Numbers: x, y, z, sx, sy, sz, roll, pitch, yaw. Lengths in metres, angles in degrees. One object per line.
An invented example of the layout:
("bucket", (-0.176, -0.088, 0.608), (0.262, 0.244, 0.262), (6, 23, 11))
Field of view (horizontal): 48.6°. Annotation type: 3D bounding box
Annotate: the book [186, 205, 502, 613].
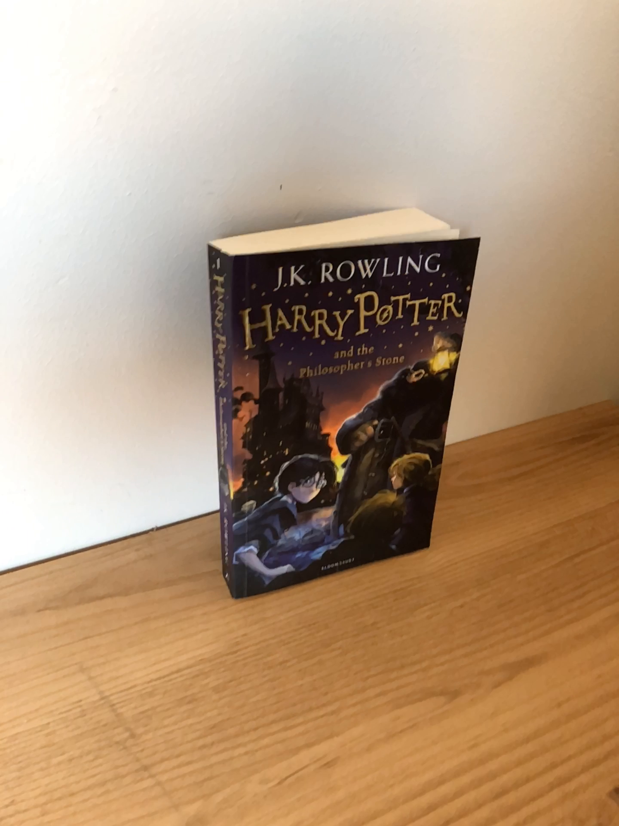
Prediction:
("book", (0.010, -0.005, 0.371), (0.135, 0.192, 0.068), (-9, 30, -24))
